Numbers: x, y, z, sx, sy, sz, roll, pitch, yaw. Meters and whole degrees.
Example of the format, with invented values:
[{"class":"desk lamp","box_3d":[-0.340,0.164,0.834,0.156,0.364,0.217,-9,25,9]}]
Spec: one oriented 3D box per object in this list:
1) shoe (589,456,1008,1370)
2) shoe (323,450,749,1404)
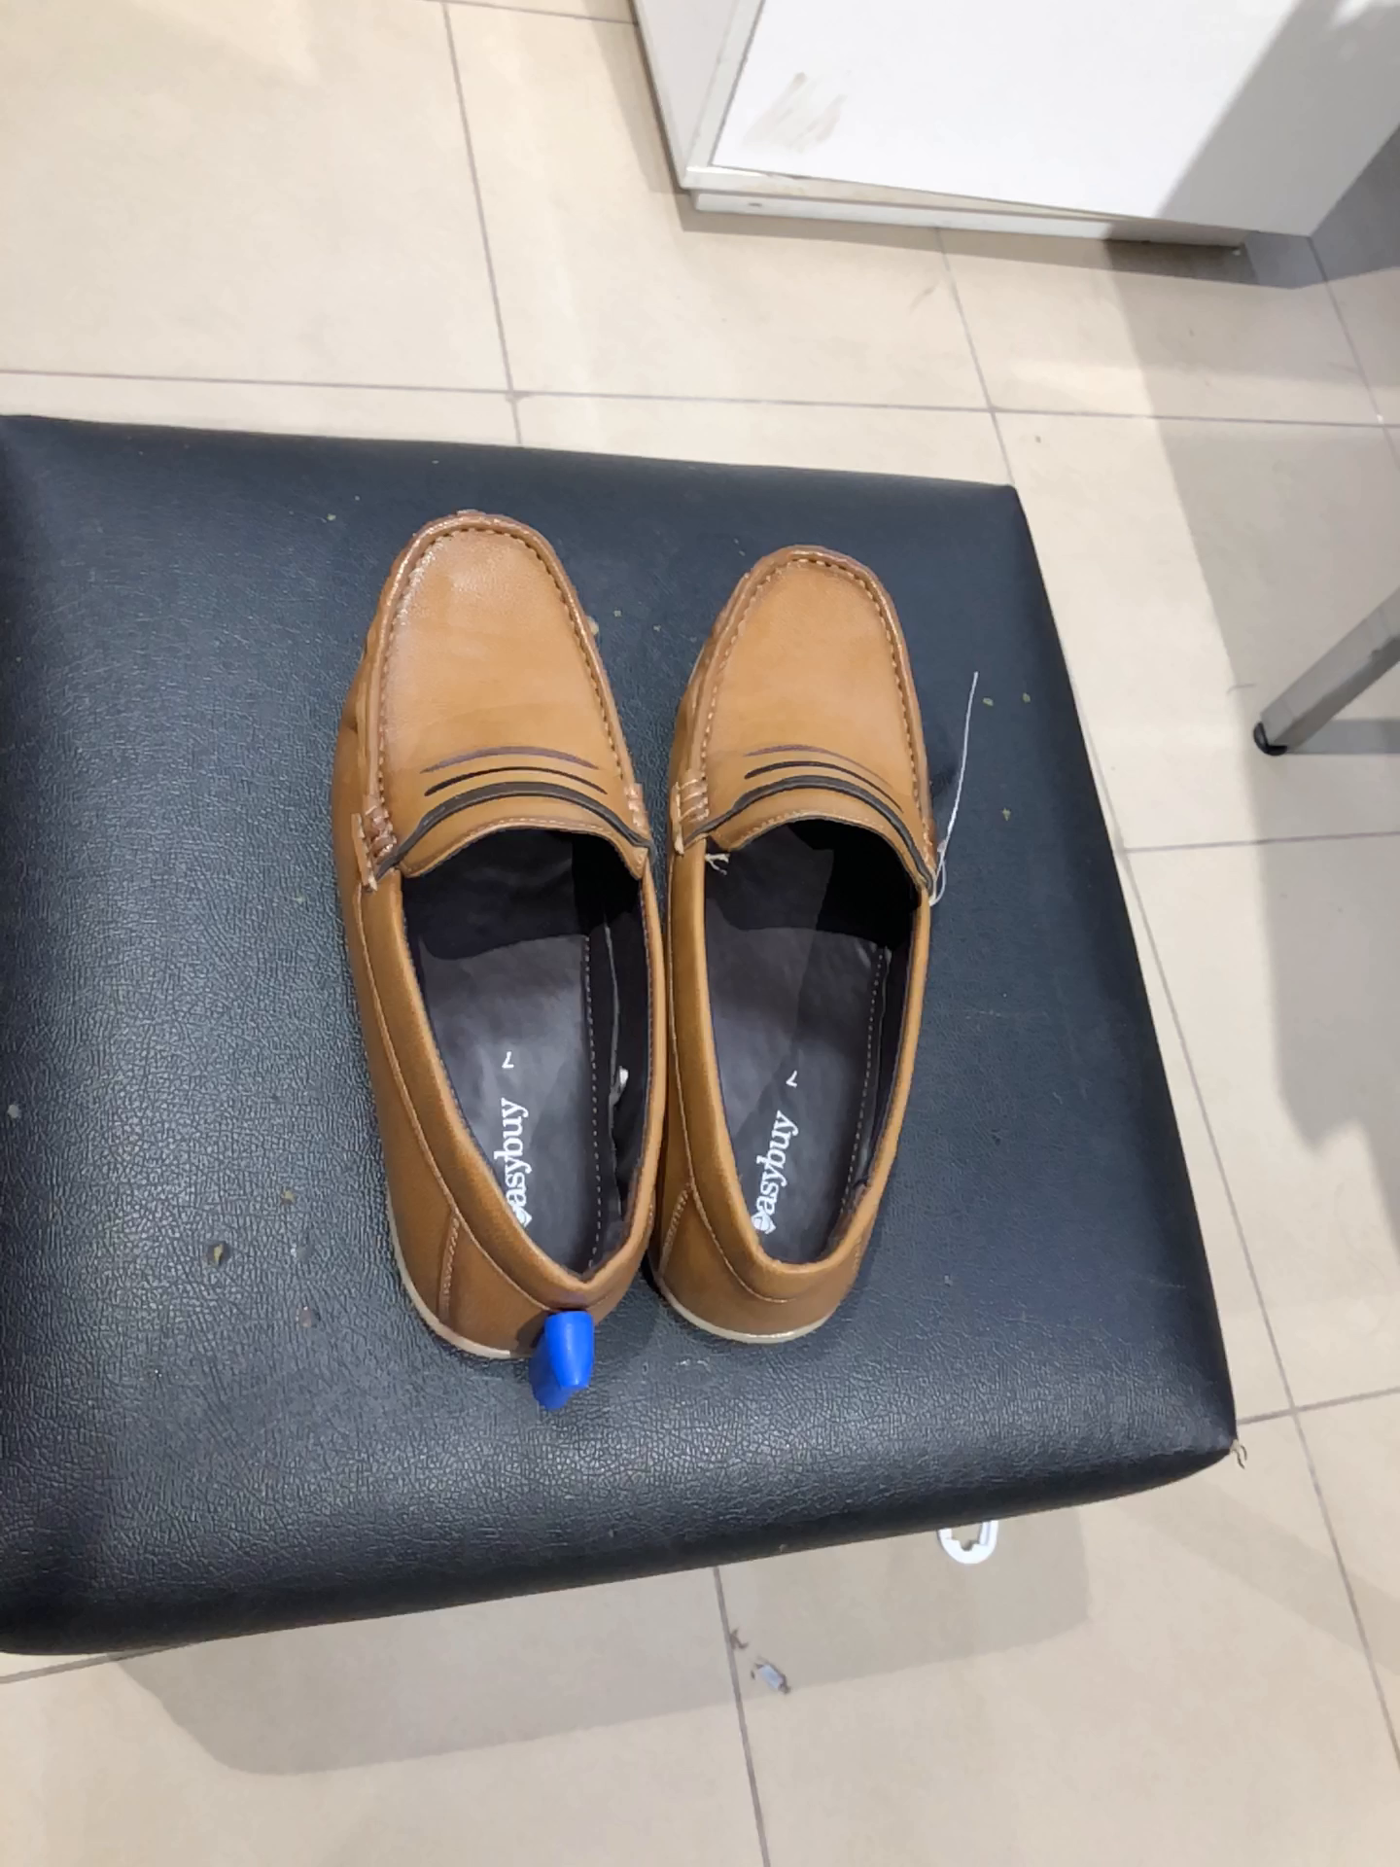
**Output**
[{"class":"shoe","box_3d":[0.033,-0.008,0.503,0.098,0.088,0.274,10,65,-13]},{"class":"shoe","box_3d":[-0.061,-0.005,0.477,0.098,0.088,0.274,0,68,-17]}]
